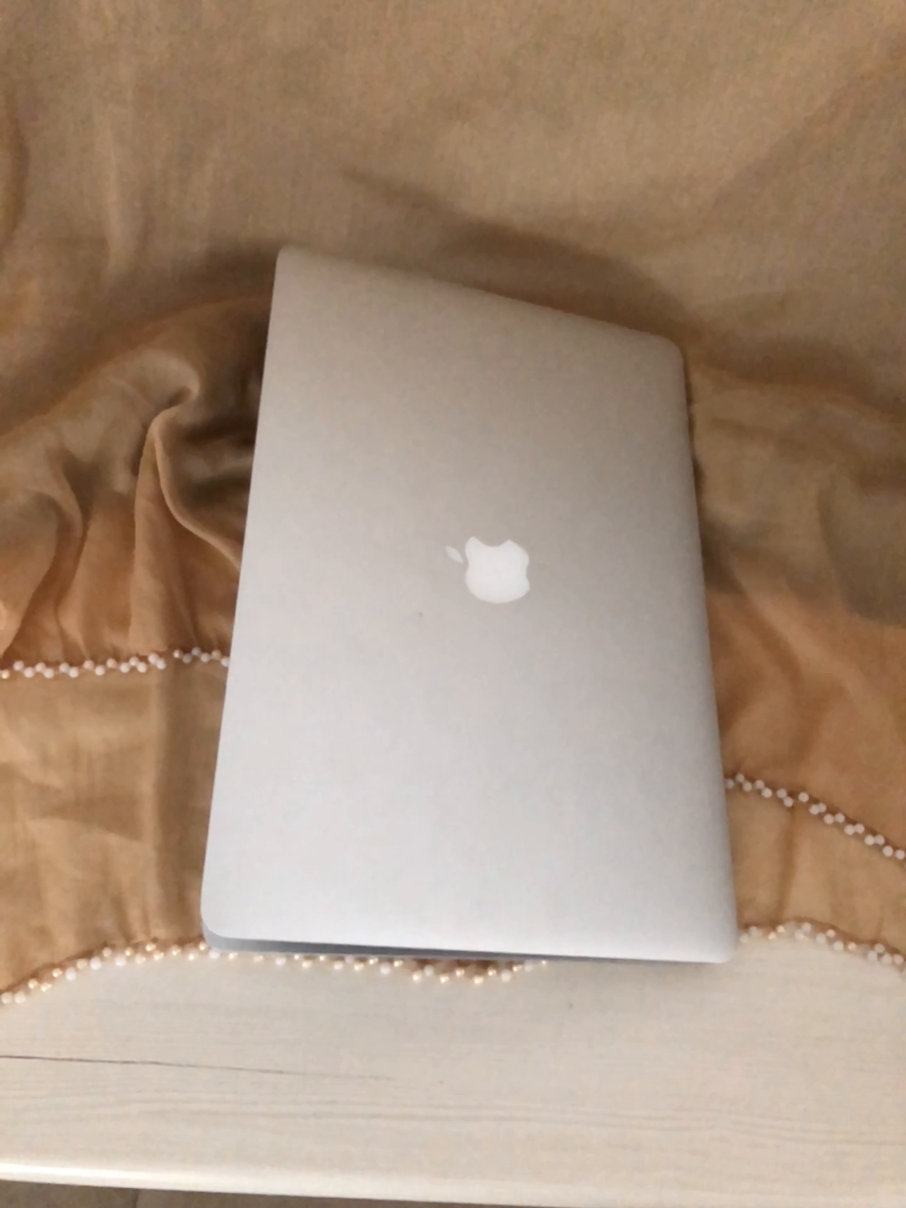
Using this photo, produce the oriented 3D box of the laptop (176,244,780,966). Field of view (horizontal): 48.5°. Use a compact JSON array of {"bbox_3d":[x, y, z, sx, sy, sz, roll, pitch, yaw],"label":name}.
[{"bbox_3d":[0.013,-0.014,0.500,0.239,0.063,0.353,3,64,-3],"label":"laptop"}]
